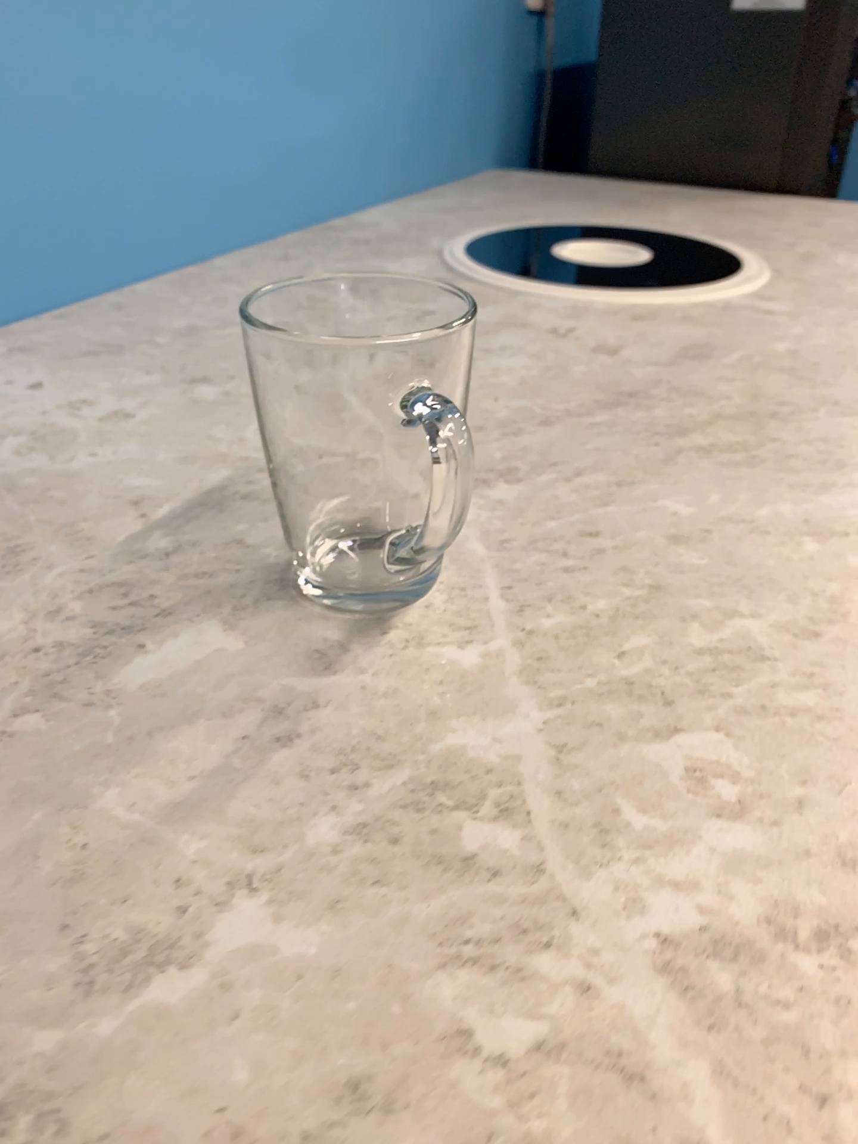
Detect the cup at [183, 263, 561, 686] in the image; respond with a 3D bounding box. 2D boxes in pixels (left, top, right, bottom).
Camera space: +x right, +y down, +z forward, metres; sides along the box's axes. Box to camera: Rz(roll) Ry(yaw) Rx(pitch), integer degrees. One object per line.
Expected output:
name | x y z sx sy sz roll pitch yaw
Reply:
cup | -0.026 -0.043 0.318 0.089 0.097 0.116 -12 35 -20
